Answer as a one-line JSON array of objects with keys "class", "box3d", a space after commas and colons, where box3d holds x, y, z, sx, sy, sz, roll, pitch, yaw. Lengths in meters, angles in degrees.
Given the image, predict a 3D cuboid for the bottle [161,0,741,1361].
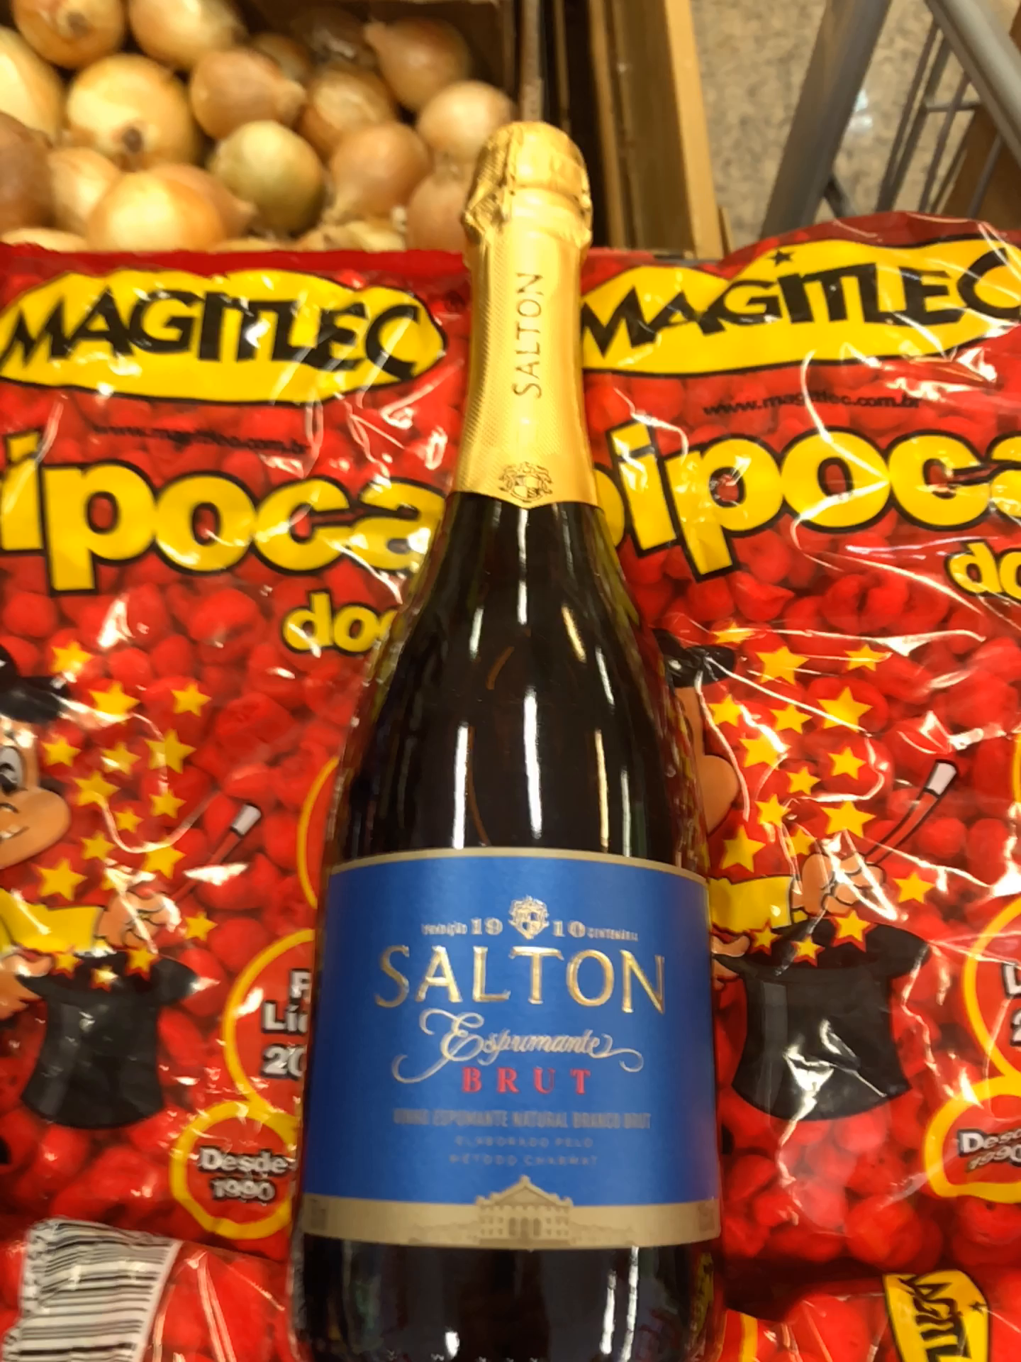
[{"class": "bottle", "box3d": [-0.011, -0.016, 0.262, 0.090, 0.080, 0.311, 0, 73, -2]}]
